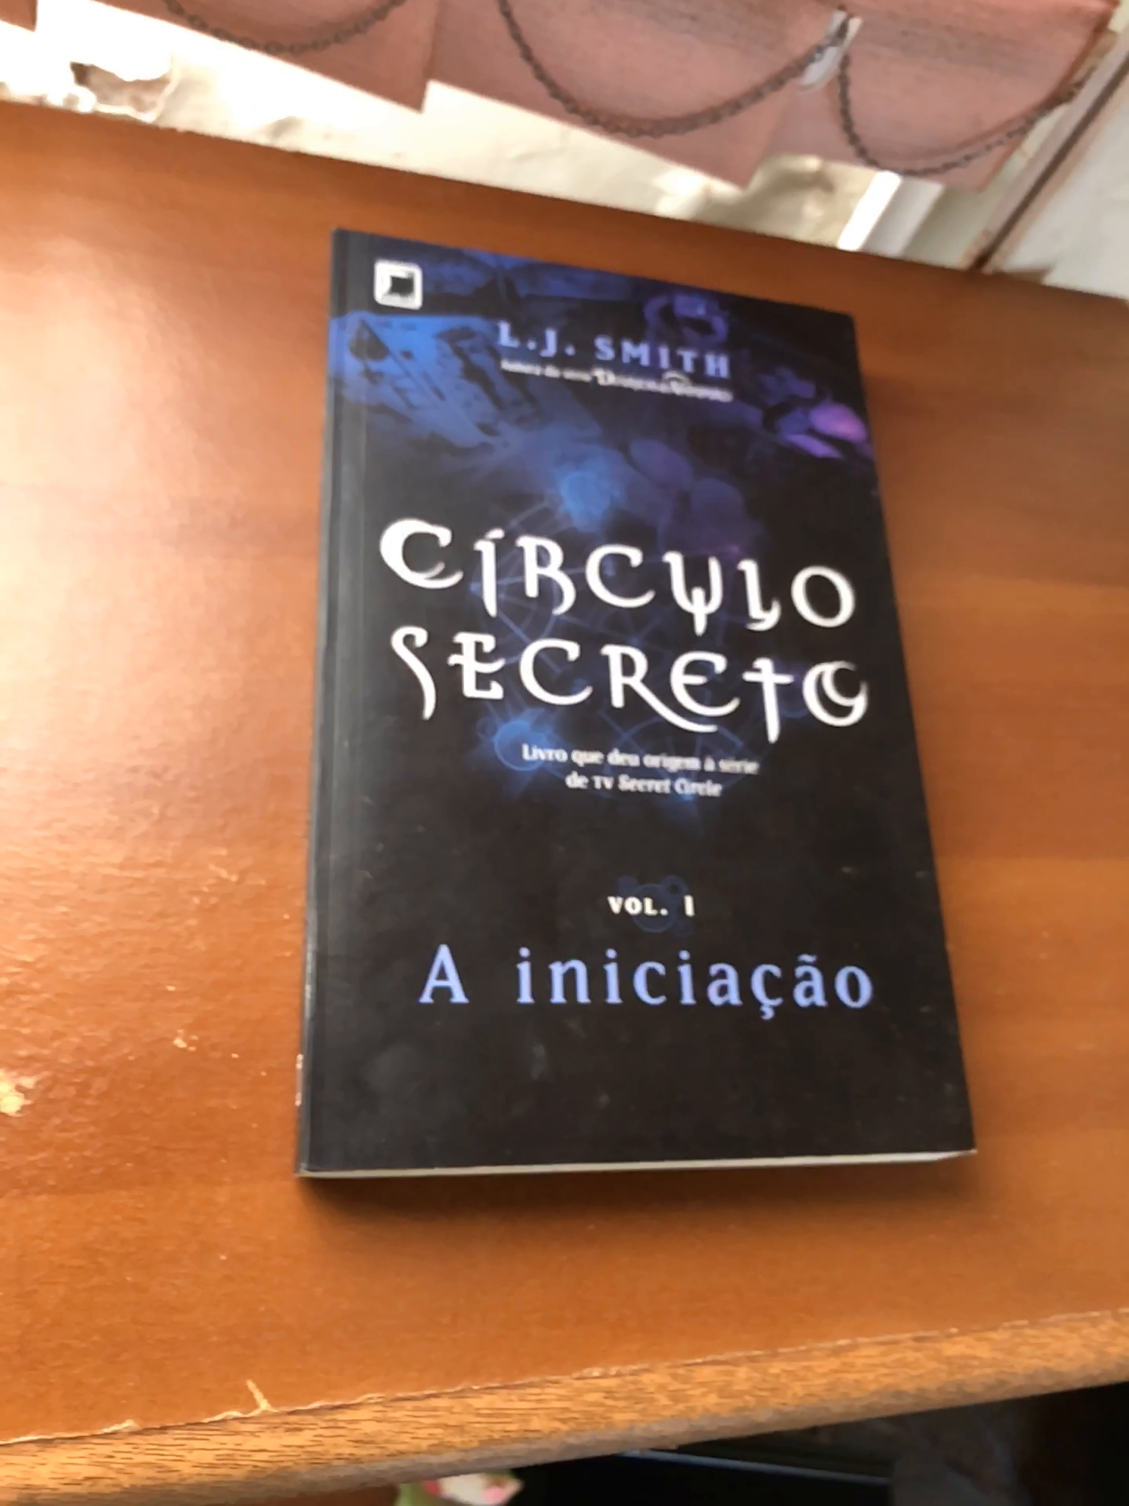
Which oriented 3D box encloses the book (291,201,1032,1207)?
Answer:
[{"bbox_3d":[0.015,-0.018,0.278,0.140,0.024,0.214,4,67,-17],"label":"book"}]
